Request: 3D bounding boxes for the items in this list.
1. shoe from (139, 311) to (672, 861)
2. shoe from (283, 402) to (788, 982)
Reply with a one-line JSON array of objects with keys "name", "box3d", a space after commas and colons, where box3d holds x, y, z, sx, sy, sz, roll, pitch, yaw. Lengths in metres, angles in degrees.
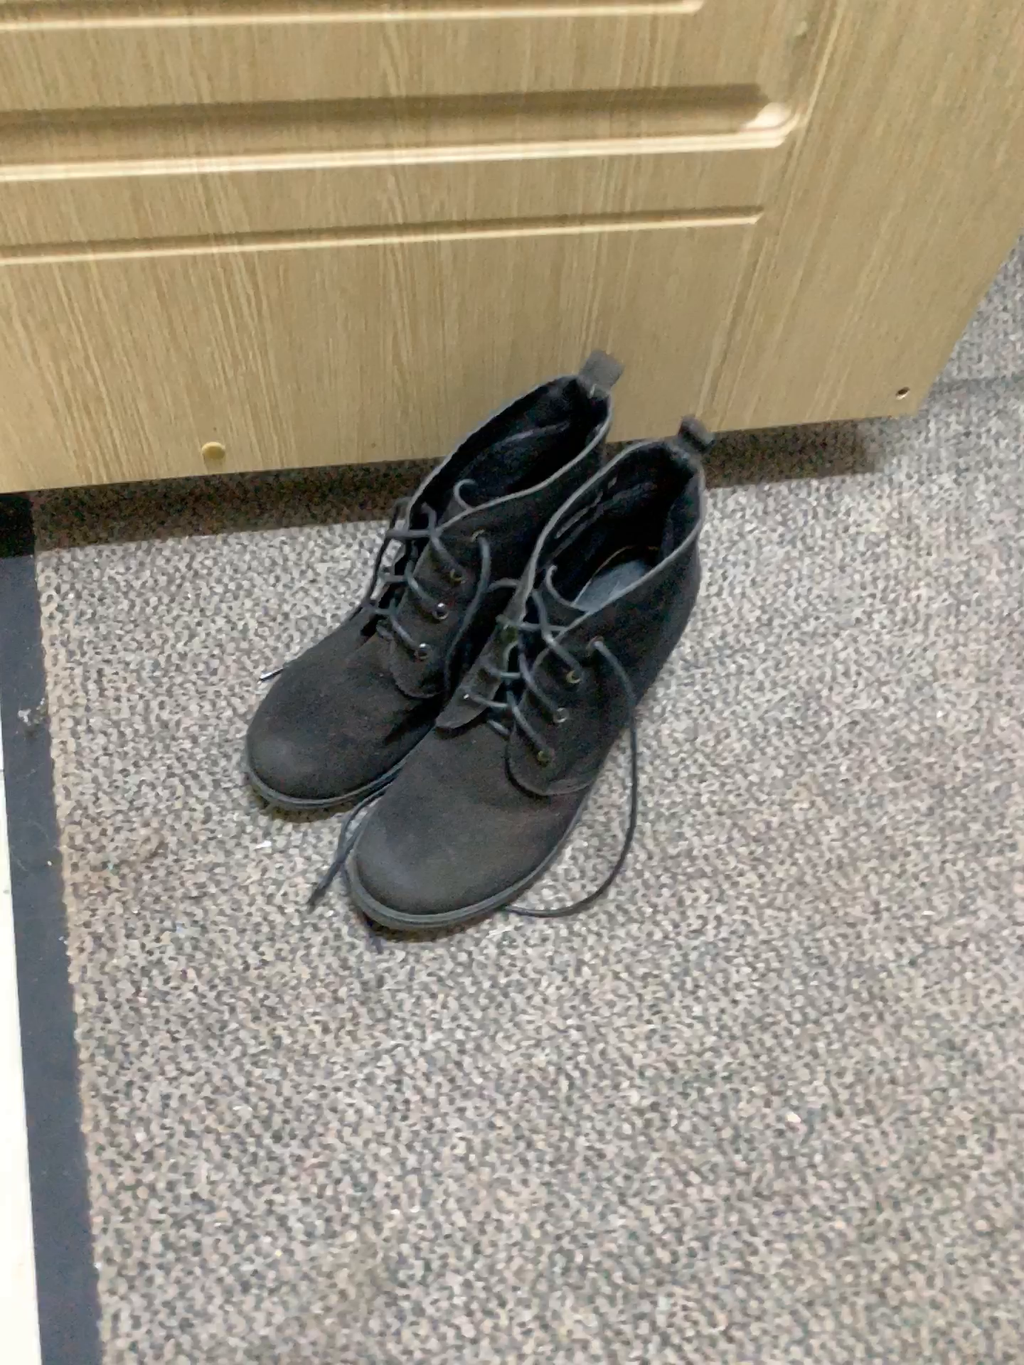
[{"name": "shoe", "box3d": [-0.042, -0.044, 0.509, 0.080, 0.160, 0.230, 42, 65, 18]}, {"name": "shoe", "box3d": [0.013, 0.007, 0.493, 0.080, 0.160, 0.230, 37, 64, 16]}]
